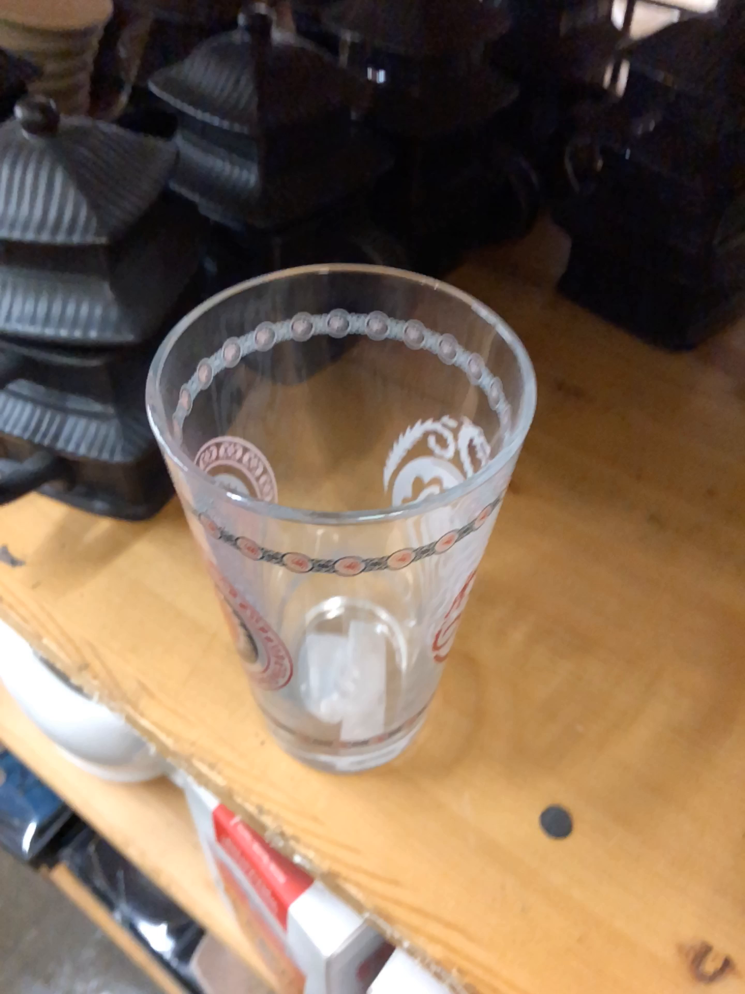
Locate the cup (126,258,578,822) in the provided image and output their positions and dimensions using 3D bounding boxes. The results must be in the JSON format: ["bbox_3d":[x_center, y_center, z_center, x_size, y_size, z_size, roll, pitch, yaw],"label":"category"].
[{"bbox_3d":[-0.009,0.017,0.232,0.084,0.132,0.085,1,47,-1],"label":"cup"}]
